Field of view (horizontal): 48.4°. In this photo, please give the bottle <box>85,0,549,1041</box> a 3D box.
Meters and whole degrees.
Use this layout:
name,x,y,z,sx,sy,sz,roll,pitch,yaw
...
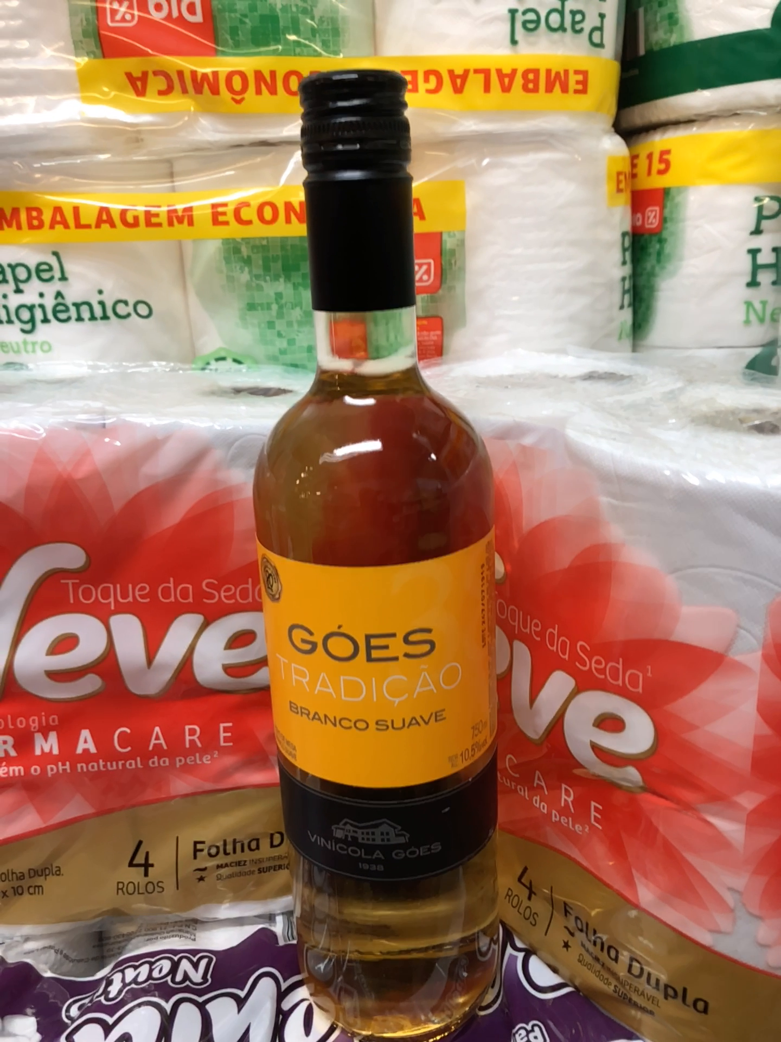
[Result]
name,x,y,z,sx,sy,sz,roll,pitch,yaw
bottle,-0.004,0.027,0.282,0.090,0.318,0.090,-4,19,1
